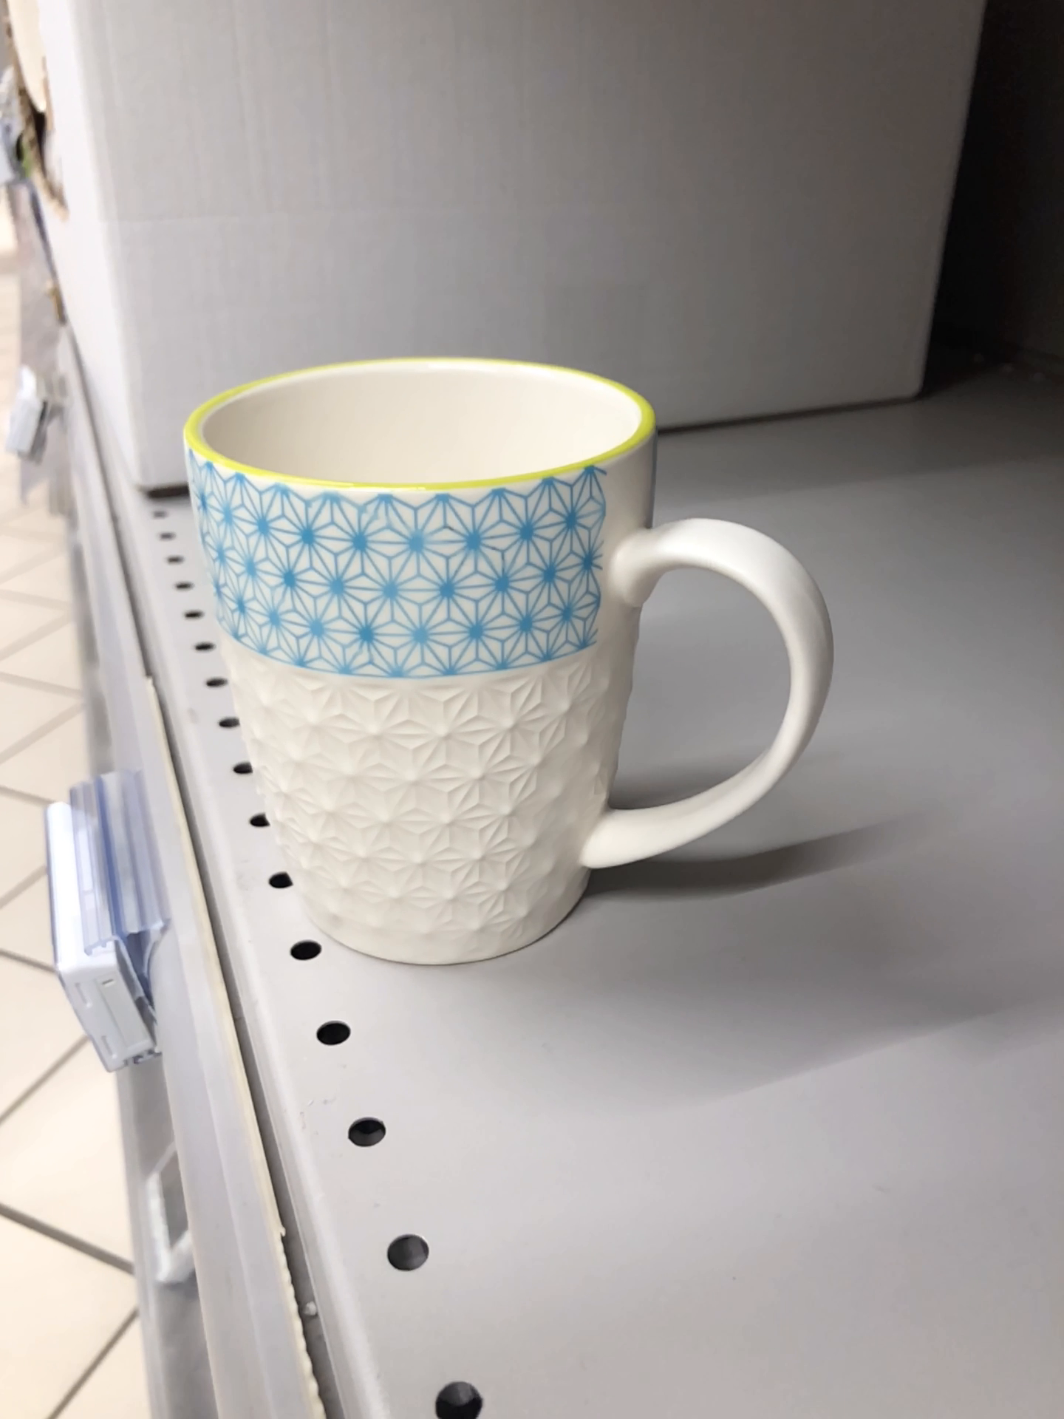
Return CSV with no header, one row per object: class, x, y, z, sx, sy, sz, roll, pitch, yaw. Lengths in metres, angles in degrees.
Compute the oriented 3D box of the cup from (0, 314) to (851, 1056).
cup,-0.010,-0.016,0.227,0.118,0.092,0.099,9,30,17
